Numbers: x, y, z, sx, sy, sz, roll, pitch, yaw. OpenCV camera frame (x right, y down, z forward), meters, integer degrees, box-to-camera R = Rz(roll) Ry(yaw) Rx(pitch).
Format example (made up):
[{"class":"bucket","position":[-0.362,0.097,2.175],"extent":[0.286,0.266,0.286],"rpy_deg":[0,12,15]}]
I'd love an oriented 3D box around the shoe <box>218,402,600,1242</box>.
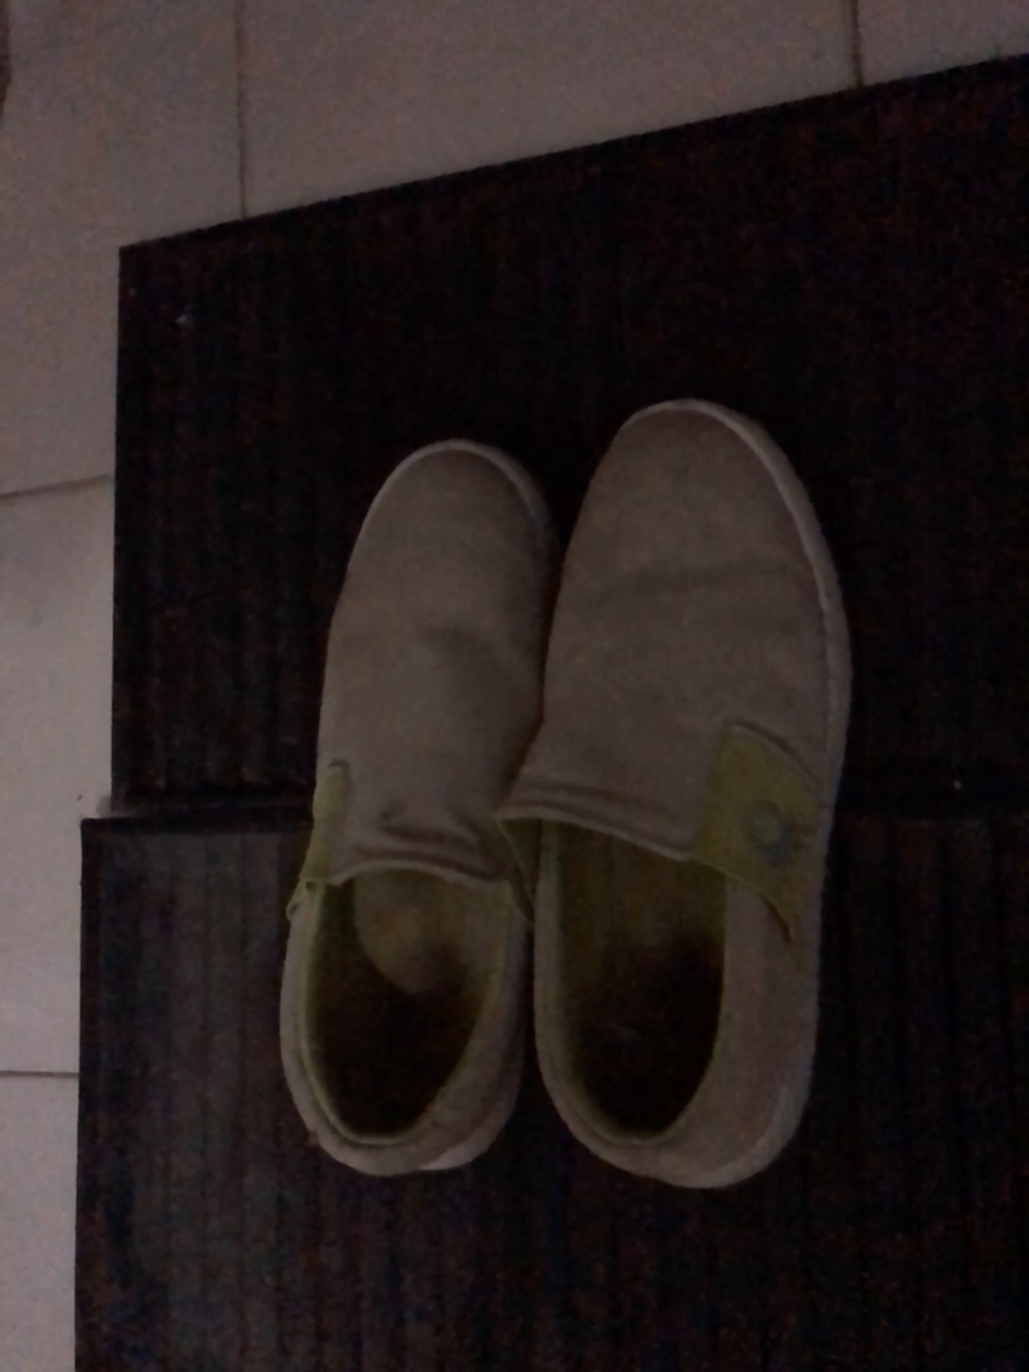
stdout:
[{"class":"shoe","position":[-0.037,0.049,0.471],"extent":[0.120,0.090,0.300],"rpy_deg":[-1,83,19]}]

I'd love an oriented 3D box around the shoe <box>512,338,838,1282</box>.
[{"class":"shoe","position":[0.070,0.042,0.460],"extent":[0.110,0.090,0.330],"rpy_deg":[-1,83,19]}]
